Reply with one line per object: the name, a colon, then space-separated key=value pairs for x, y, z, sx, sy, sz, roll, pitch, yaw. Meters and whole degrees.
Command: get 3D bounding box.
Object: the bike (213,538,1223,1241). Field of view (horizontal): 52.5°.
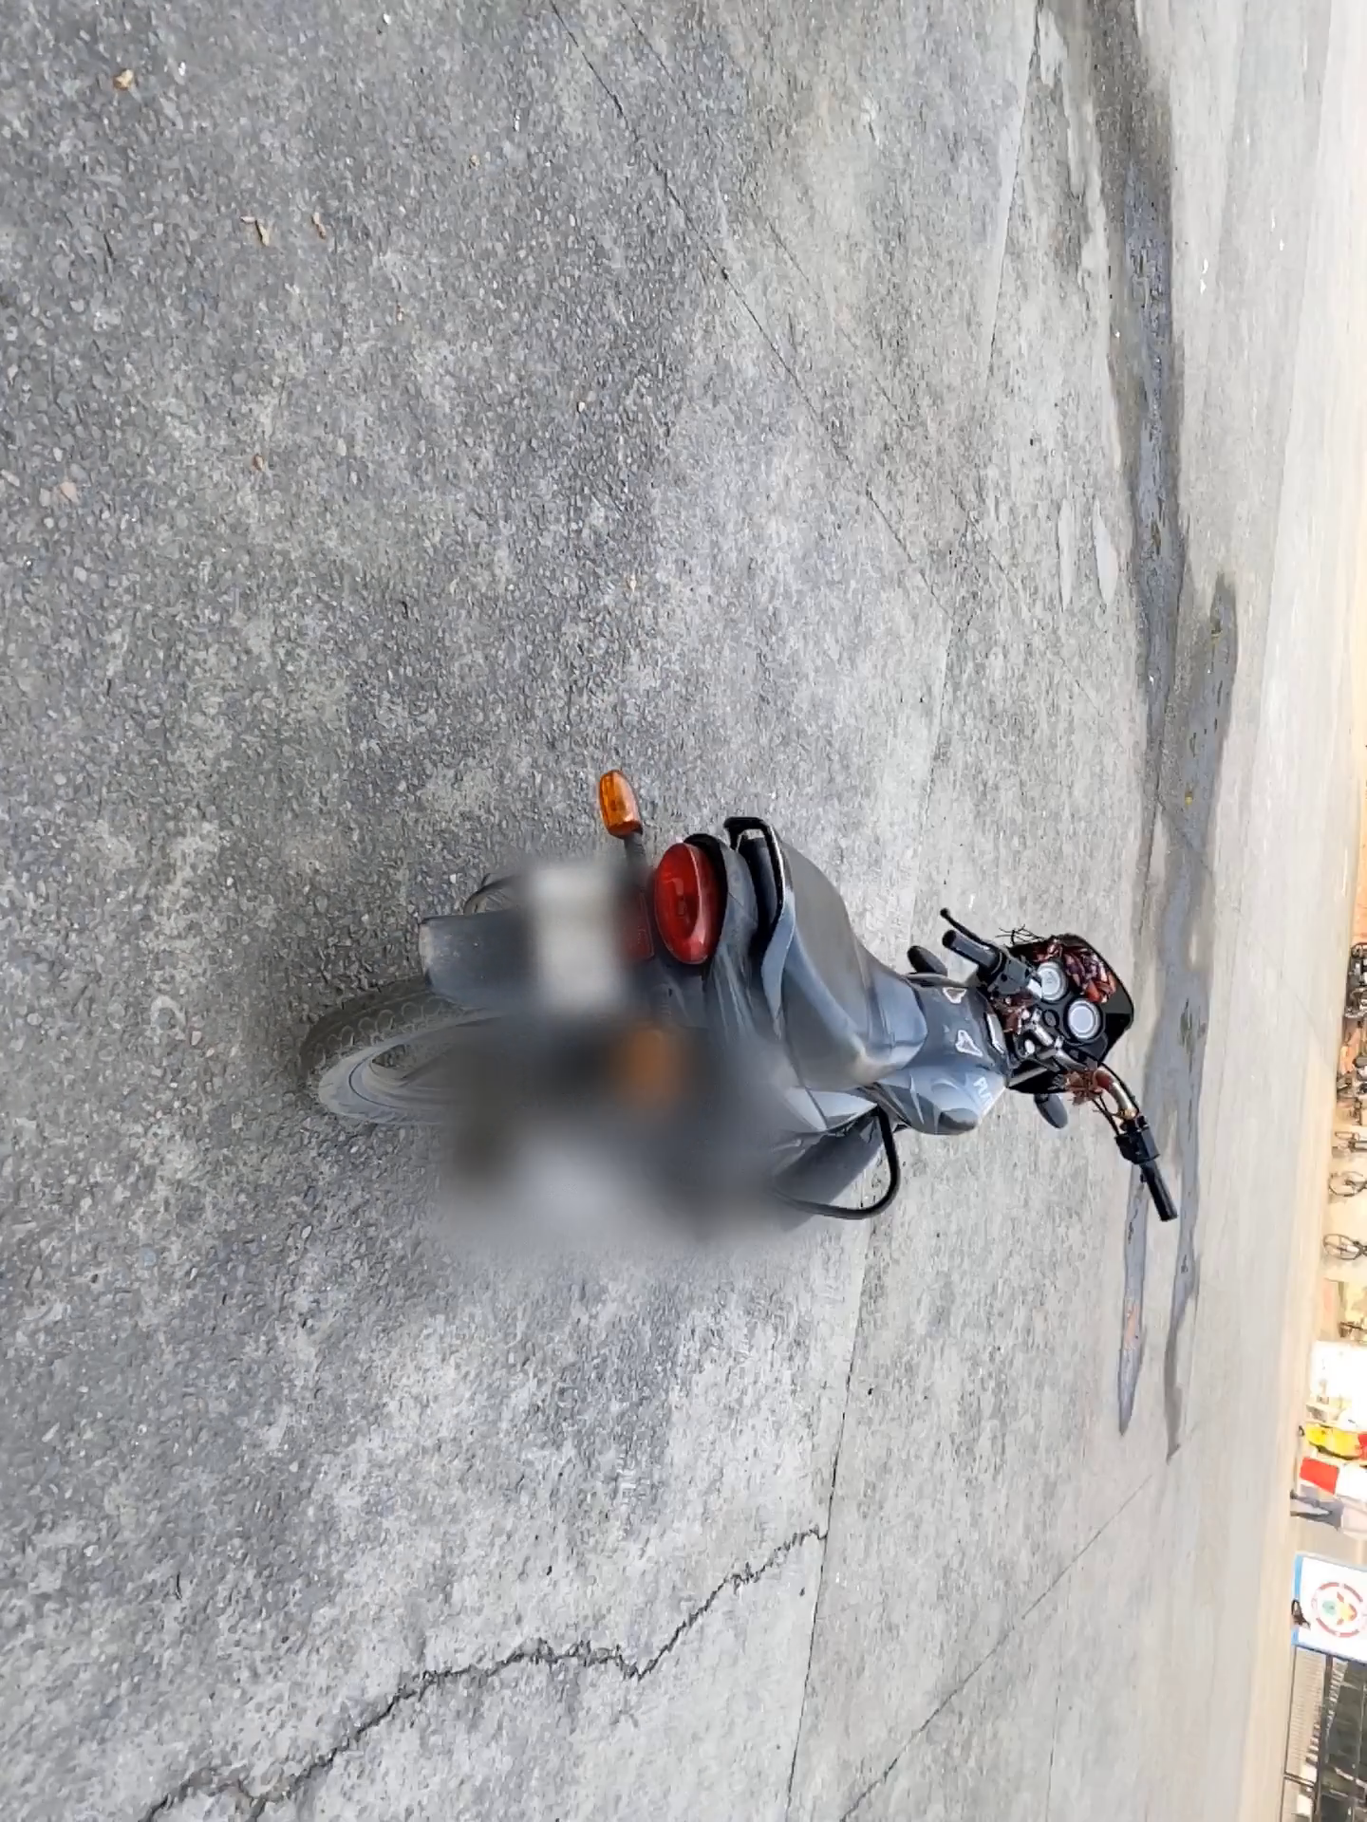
bike: x=0.276 y=0.047 z=2.502 sx=1.748 sy=1.077 sz=0.771 roll=20 pitch=77 yaw=-62
